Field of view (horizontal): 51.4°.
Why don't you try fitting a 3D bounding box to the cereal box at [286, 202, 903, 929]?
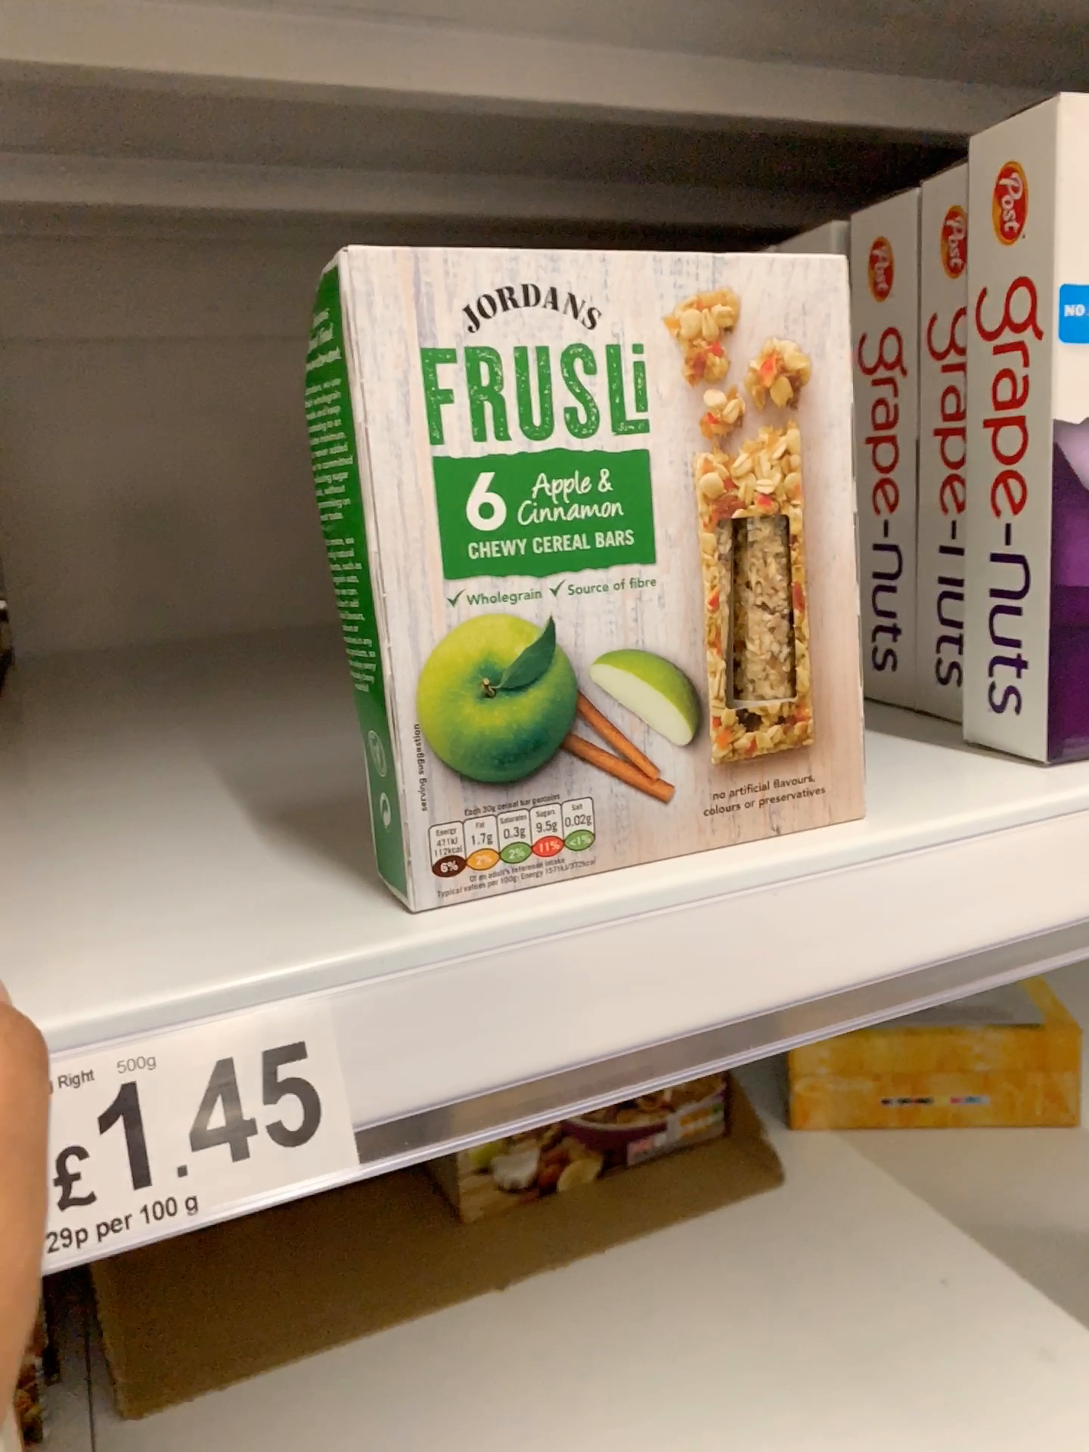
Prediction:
[{"bbox_3d":[0.019,-0.045,0.302,0.150,0.159,0.050,-8,12,-24],"label":"cereal box"}]
